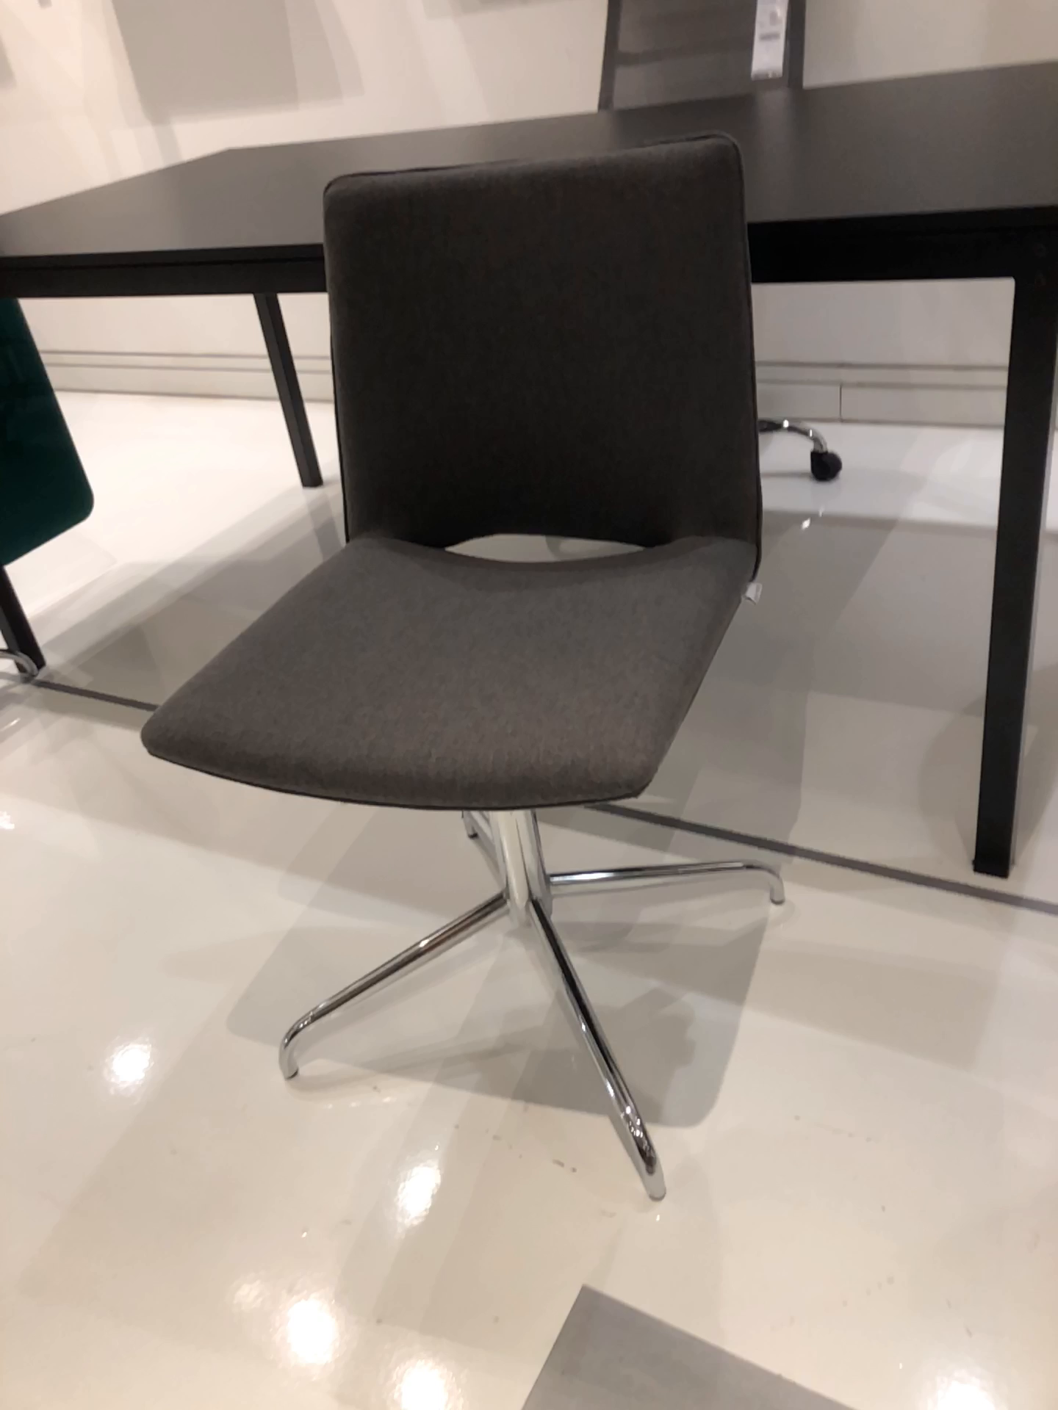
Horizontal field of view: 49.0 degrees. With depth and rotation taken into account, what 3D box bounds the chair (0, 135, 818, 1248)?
[{"bbox_3d":[-0.032,-0.025,1.142,0.521,0.844,0.533,5,35,23],"label":"chair"}]
